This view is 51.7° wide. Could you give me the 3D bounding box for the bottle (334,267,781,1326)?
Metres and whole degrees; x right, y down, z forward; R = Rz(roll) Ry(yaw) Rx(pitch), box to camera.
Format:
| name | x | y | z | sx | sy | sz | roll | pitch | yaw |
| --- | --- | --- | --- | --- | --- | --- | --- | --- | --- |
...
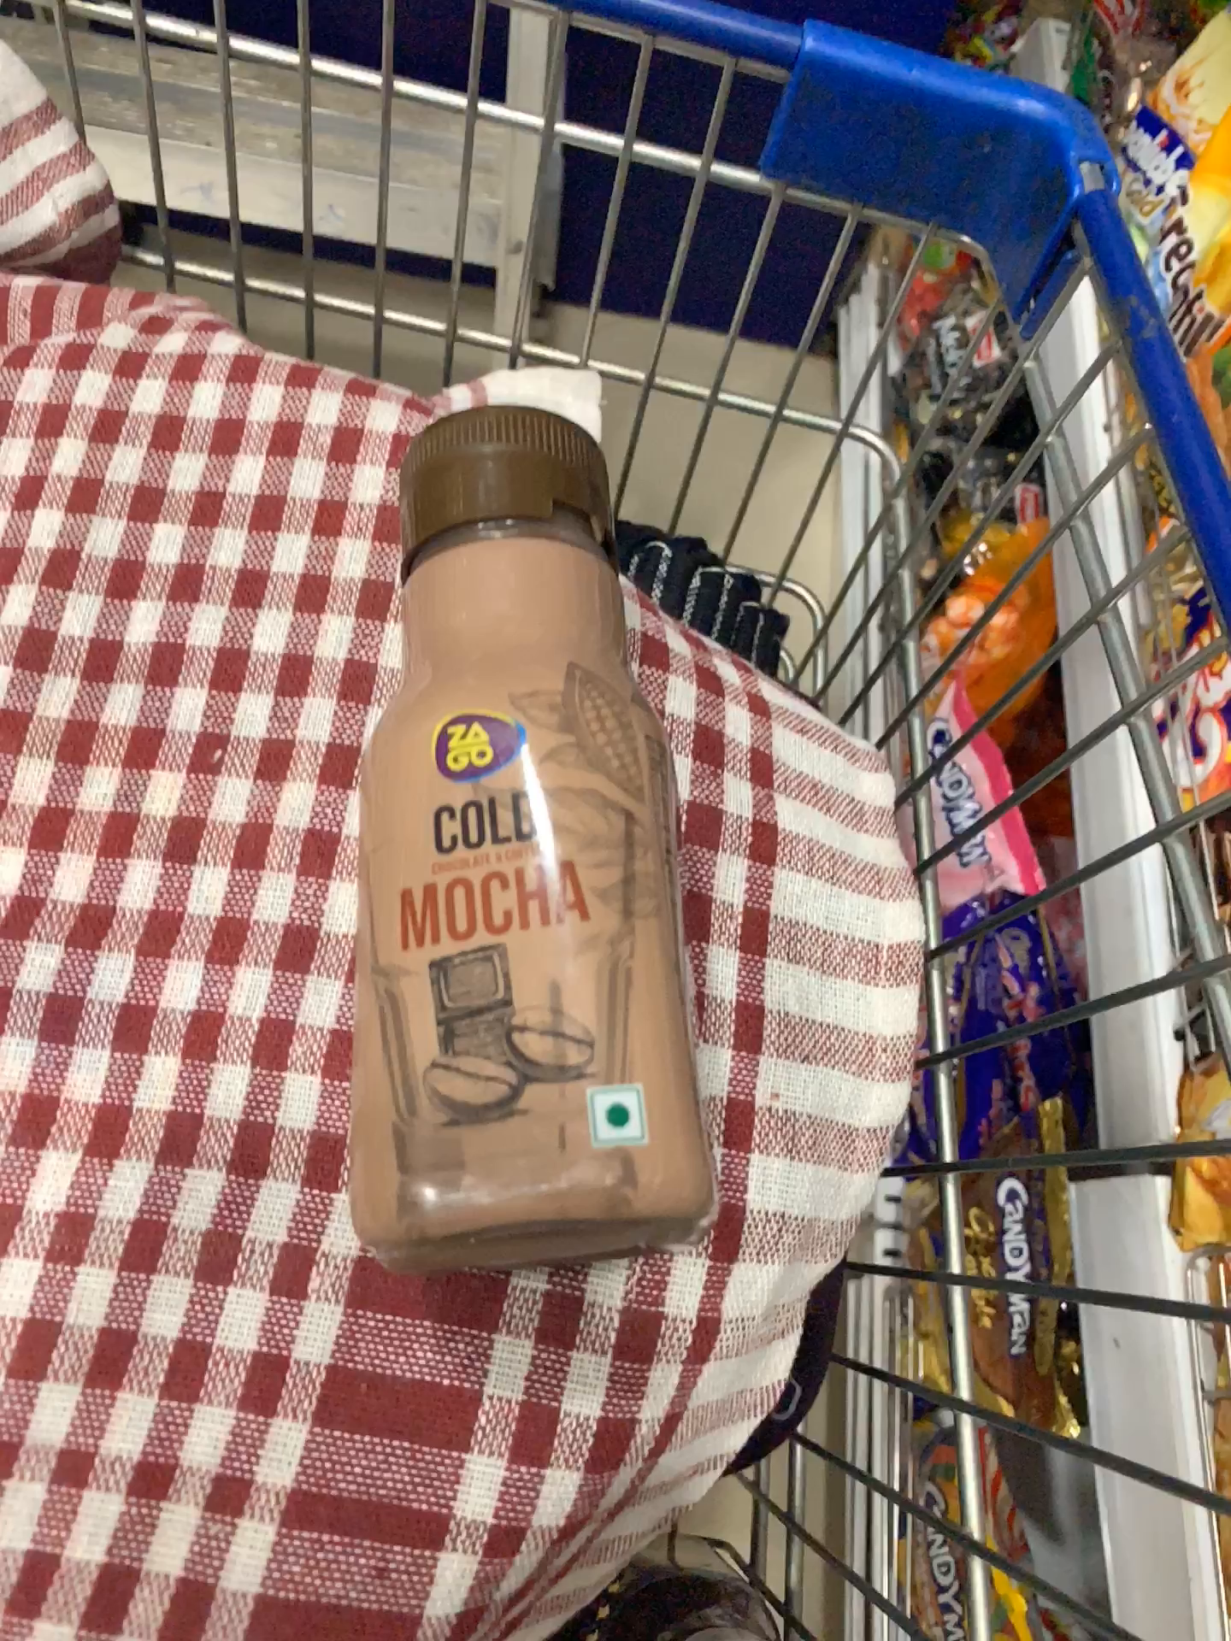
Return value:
| name | x | y | z | sx | sy | sz | roll | pitch | yaw |
| --- | --- | --- | --- | --- | --- | --- | --- | --- | --- |
| bottle | -0.010 | -0.003 | 0.230 | 0.060 | 0.070 | 0.170 | -6 | 70 | 4 |
